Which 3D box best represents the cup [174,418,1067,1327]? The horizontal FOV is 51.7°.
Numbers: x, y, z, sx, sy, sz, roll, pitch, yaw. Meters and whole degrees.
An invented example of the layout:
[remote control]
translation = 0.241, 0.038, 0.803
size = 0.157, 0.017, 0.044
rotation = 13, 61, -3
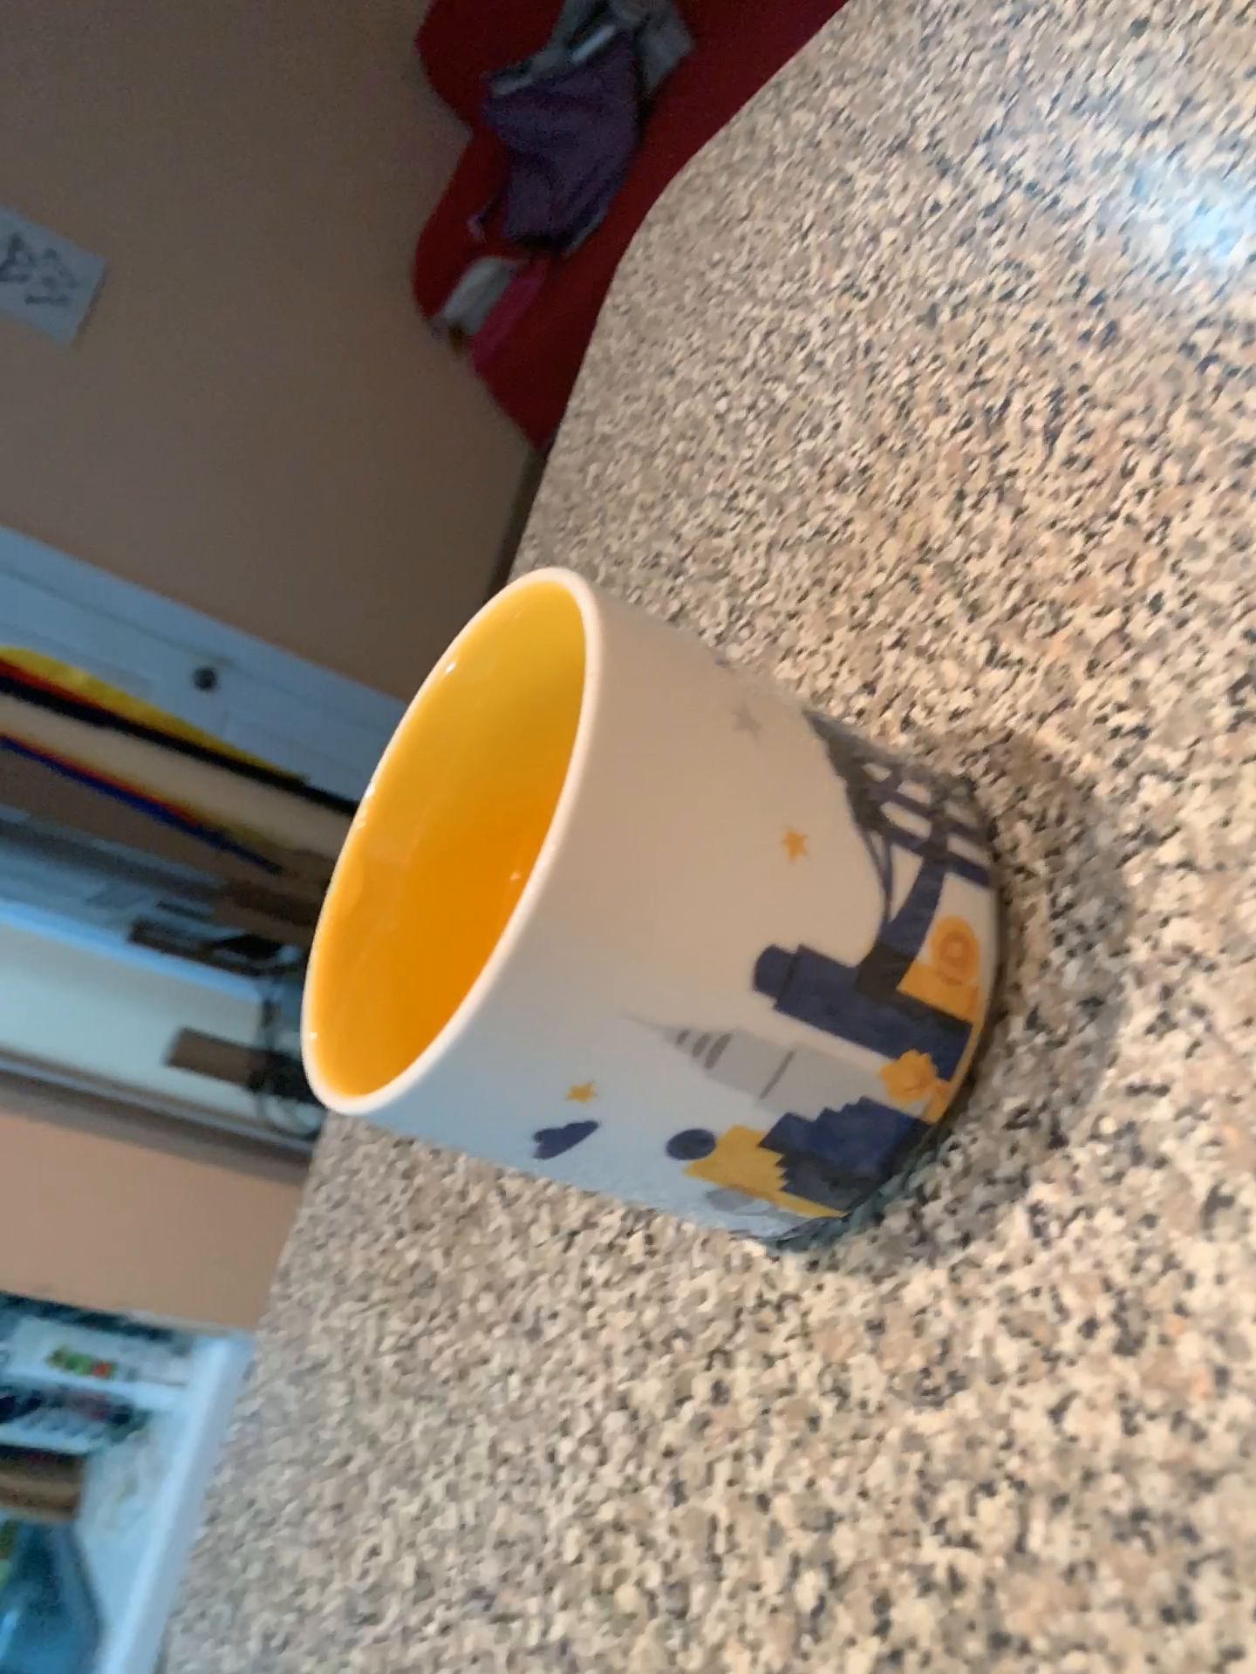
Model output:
[cup]
translation = -0.008, 0.022, 0.243
size = 0.140, 0.087, 0.102
rotation = -36, 39, 47
